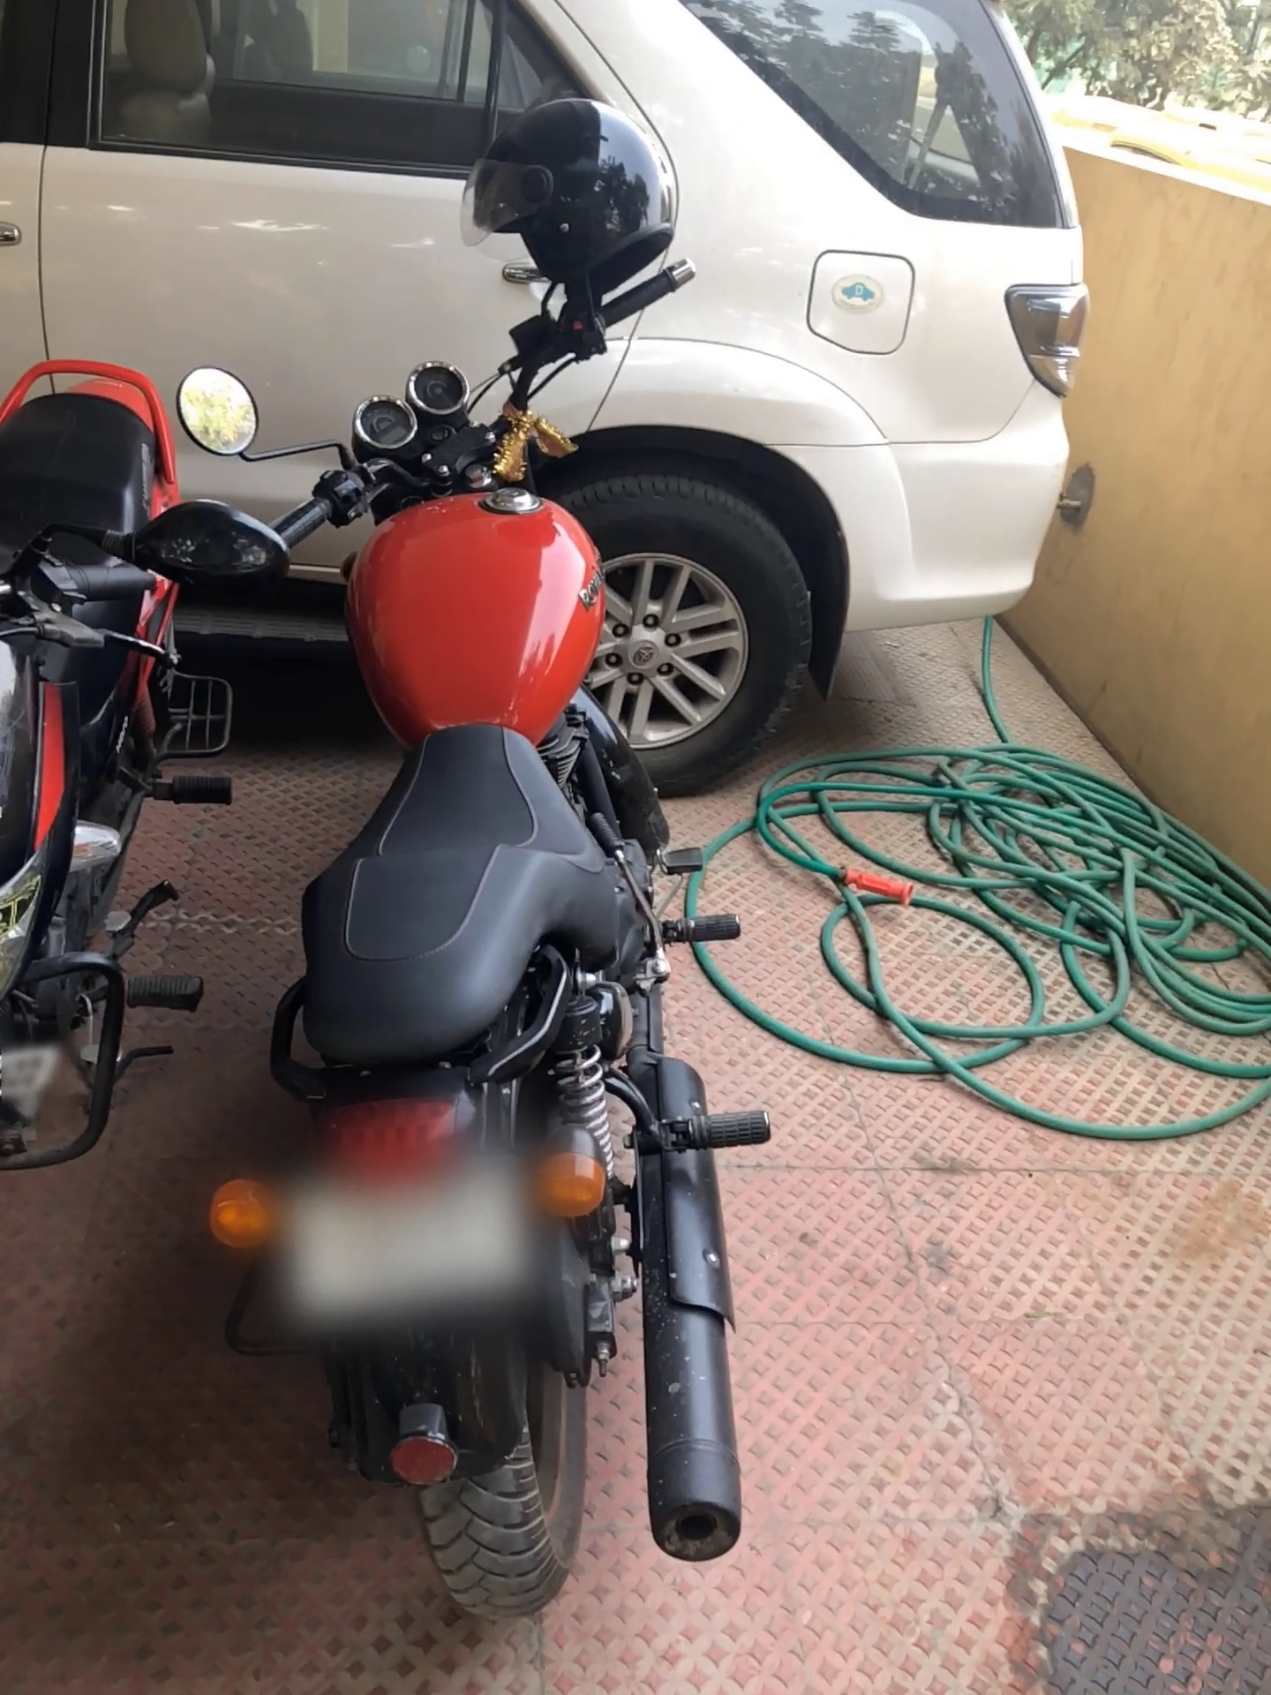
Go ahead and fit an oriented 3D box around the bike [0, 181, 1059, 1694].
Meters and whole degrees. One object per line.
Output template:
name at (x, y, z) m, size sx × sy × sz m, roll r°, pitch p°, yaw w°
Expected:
bike at (-0.303, -0.051, 1.869) m, size 0.820 × 1.270 × 1.722 m, roll 4°, pitch 31°, yaw -8°
